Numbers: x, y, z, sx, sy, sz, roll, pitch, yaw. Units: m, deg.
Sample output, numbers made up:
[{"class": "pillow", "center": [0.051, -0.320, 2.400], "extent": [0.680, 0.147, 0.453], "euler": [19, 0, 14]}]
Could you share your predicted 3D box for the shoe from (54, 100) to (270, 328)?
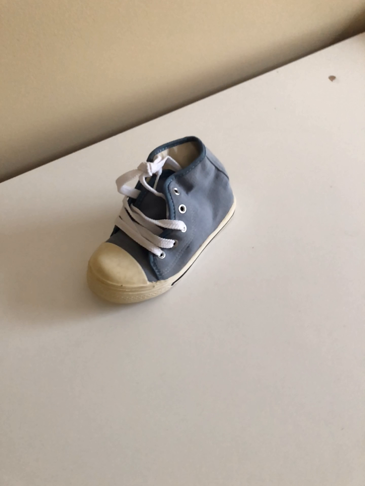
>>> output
[{"class": "shoe", "center": [-0.009, -0.033, 0.380], "extent": [0.080, 0.100, 0.191], "euler": [32, 58, 21]}]
